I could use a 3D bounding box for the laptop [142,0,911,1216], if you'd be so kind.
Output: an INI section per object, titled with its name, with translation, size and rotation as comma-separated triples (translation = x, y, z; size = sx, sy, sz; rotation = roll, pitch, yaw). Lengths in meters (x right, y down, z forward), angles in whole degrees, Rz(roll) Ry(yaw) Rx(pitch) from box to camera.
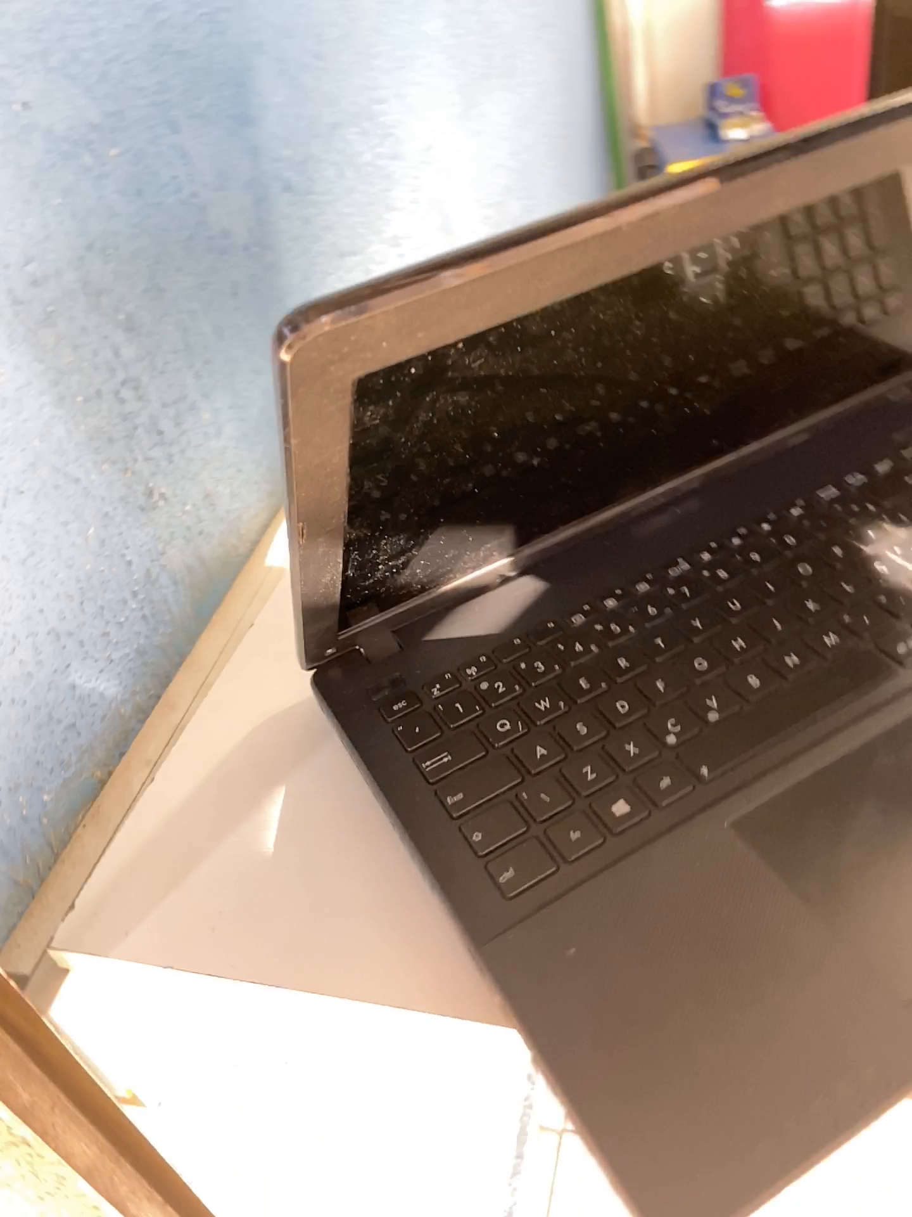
[laptop]
translation = 0.140, -0.061, 0.309
size = 0.373, 0.190, 0.240
rotation = -25, 41, -15
